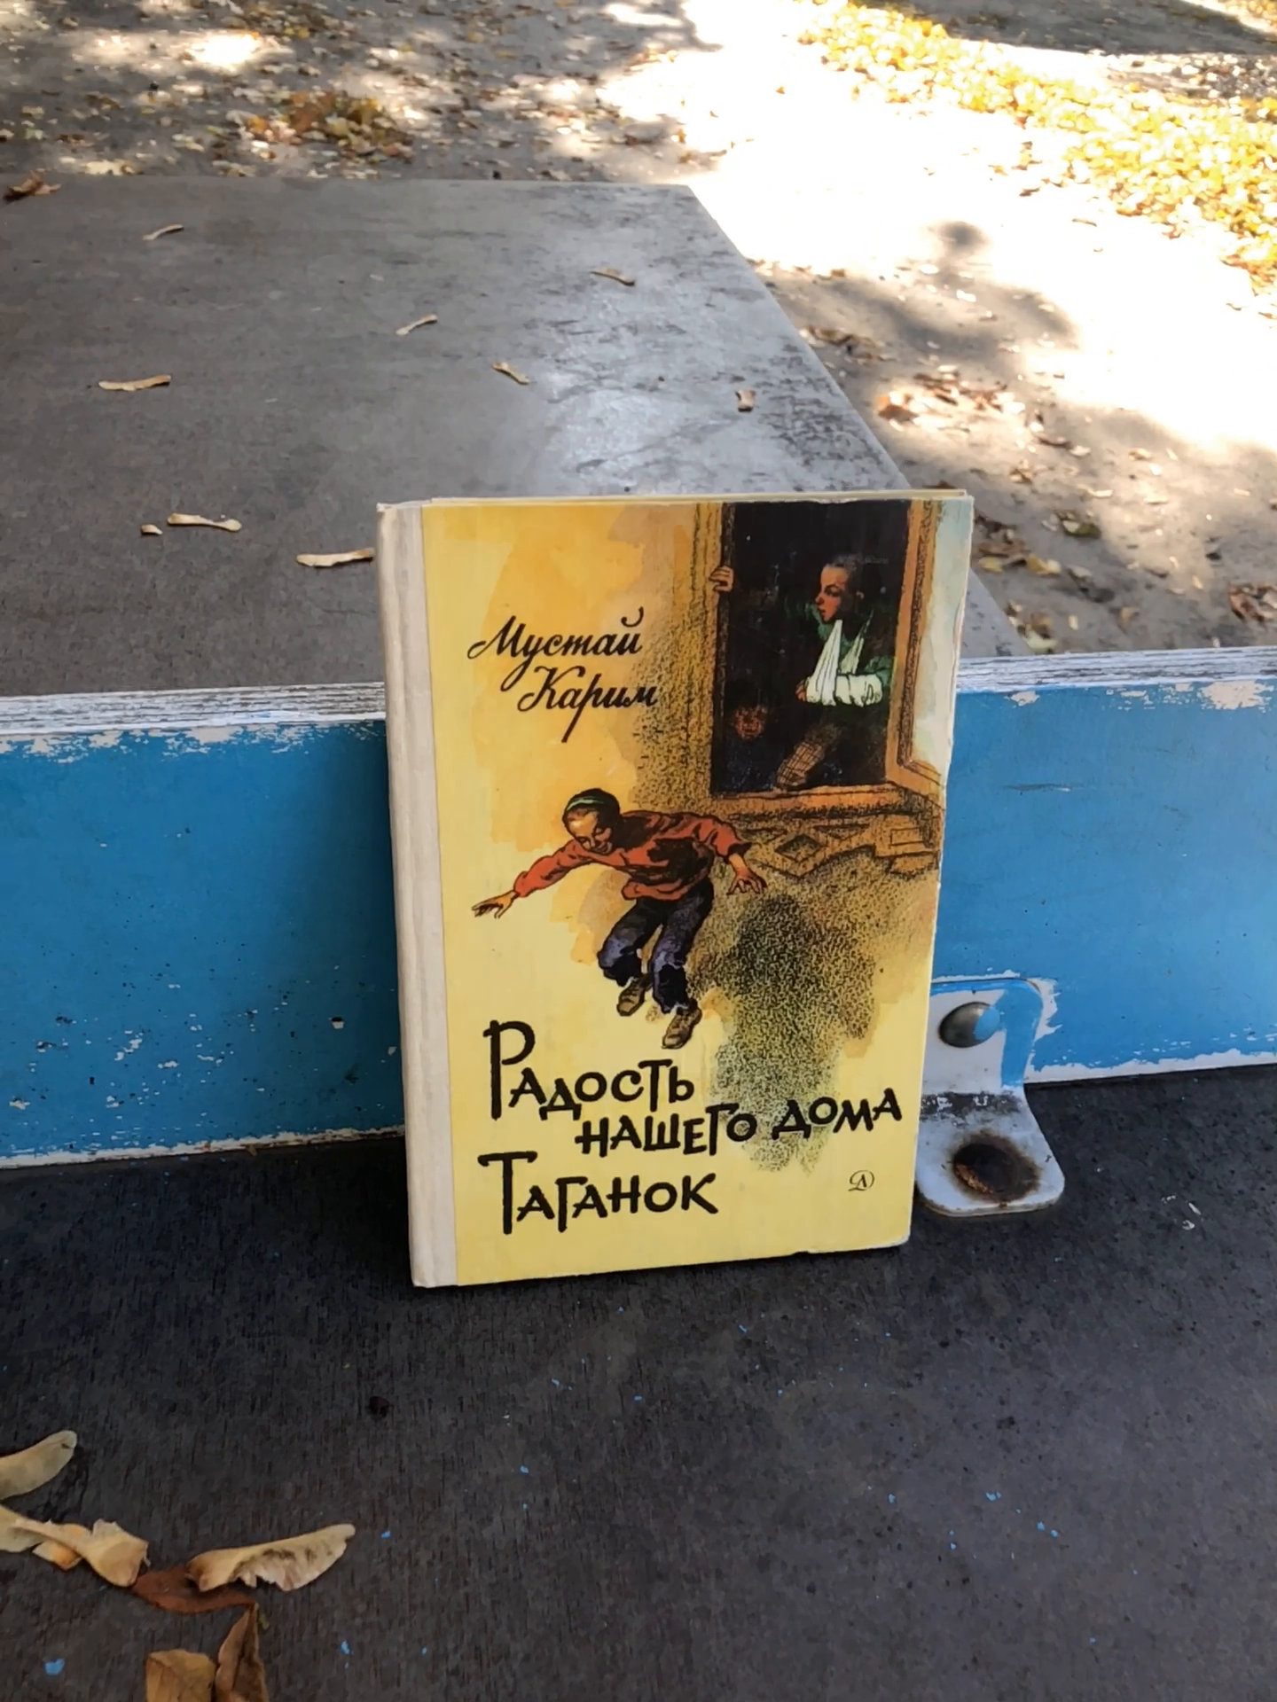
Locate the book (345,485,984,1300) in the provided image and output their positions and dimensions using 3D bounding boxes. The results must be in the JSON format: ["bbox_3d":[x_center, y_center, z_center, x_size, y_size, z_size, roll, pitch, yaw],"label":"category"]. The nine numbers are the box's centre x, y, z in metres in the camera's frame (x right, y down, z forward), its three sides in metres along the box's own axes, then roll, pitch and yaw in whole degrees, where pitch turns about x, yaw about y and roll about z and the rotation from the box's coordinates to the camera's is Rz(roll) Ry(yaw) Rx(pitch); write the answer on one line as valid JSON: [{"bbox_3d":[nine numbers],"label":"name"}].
[{"bbox_3d":[0.008,0.015,0.381,0.155,0.218,0.020,-3,18,-8],"label":"book"}]
